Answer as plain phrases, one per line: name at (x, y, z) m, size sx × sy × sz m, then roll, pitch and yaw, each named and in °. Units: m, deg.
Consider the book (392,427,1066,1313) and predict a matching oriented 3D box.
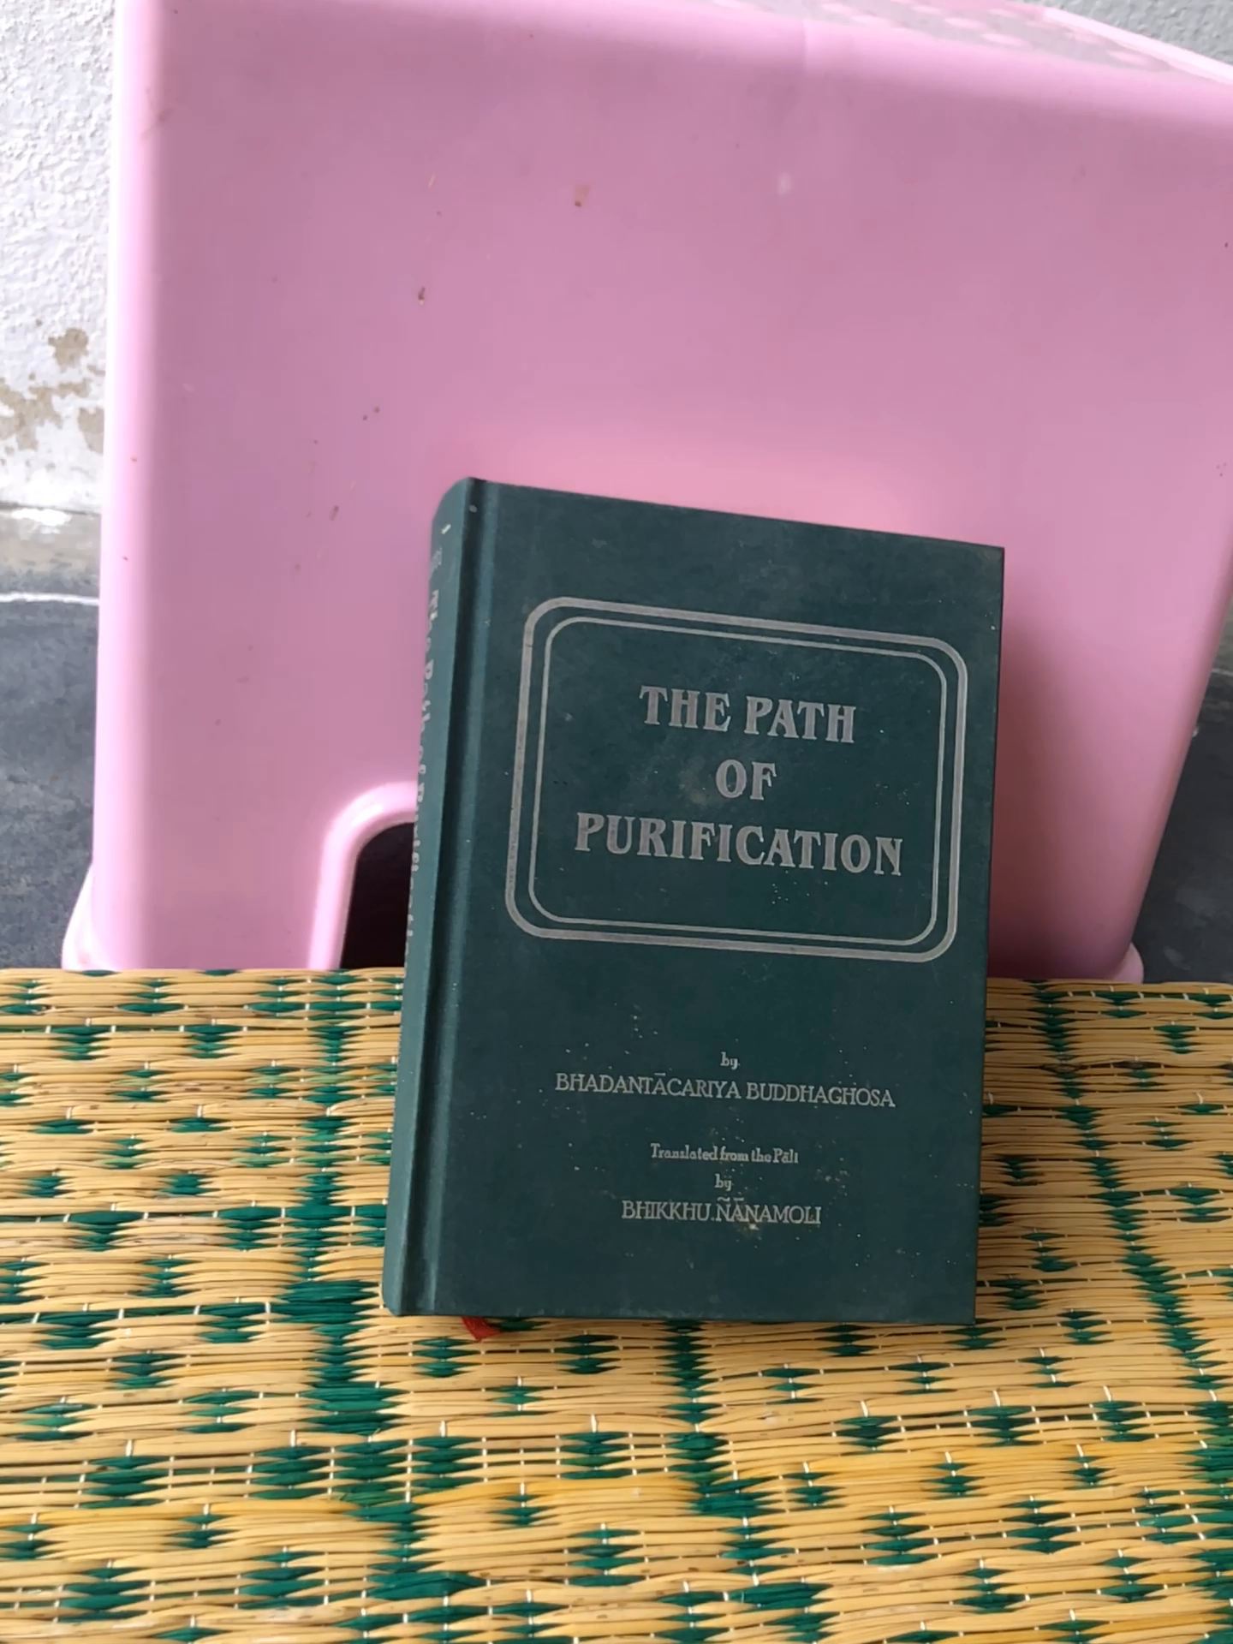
book at (0.028, 0.016, 0.376) m, size 0.160 × 0.080 × 0.210 m, roll 4°, pitch 79°, yaw -8°
